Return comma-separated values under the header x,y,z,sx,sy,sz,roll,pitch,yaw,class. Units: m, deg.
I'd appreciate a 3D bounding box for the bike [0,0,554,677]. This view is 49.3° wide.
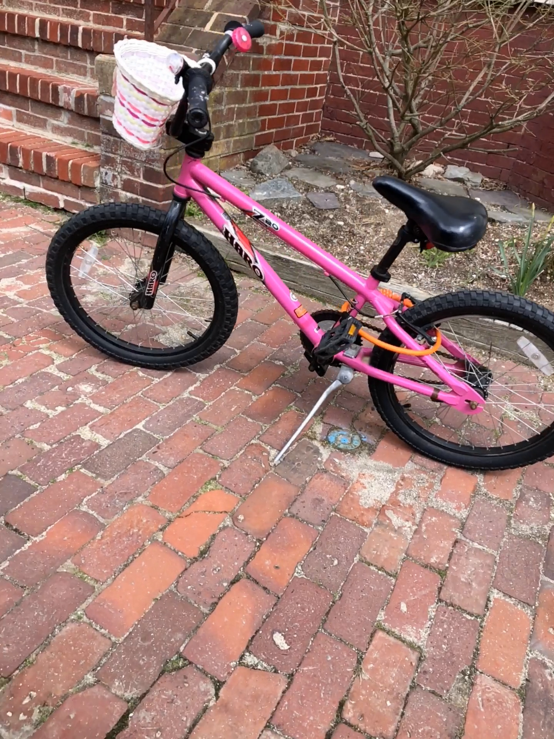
x,y,z,sx,sy,sz,roll,pitch,yaw,class
0.049,-0.206,1.233,1.337,0.906,0.715,17,31,9,bike
